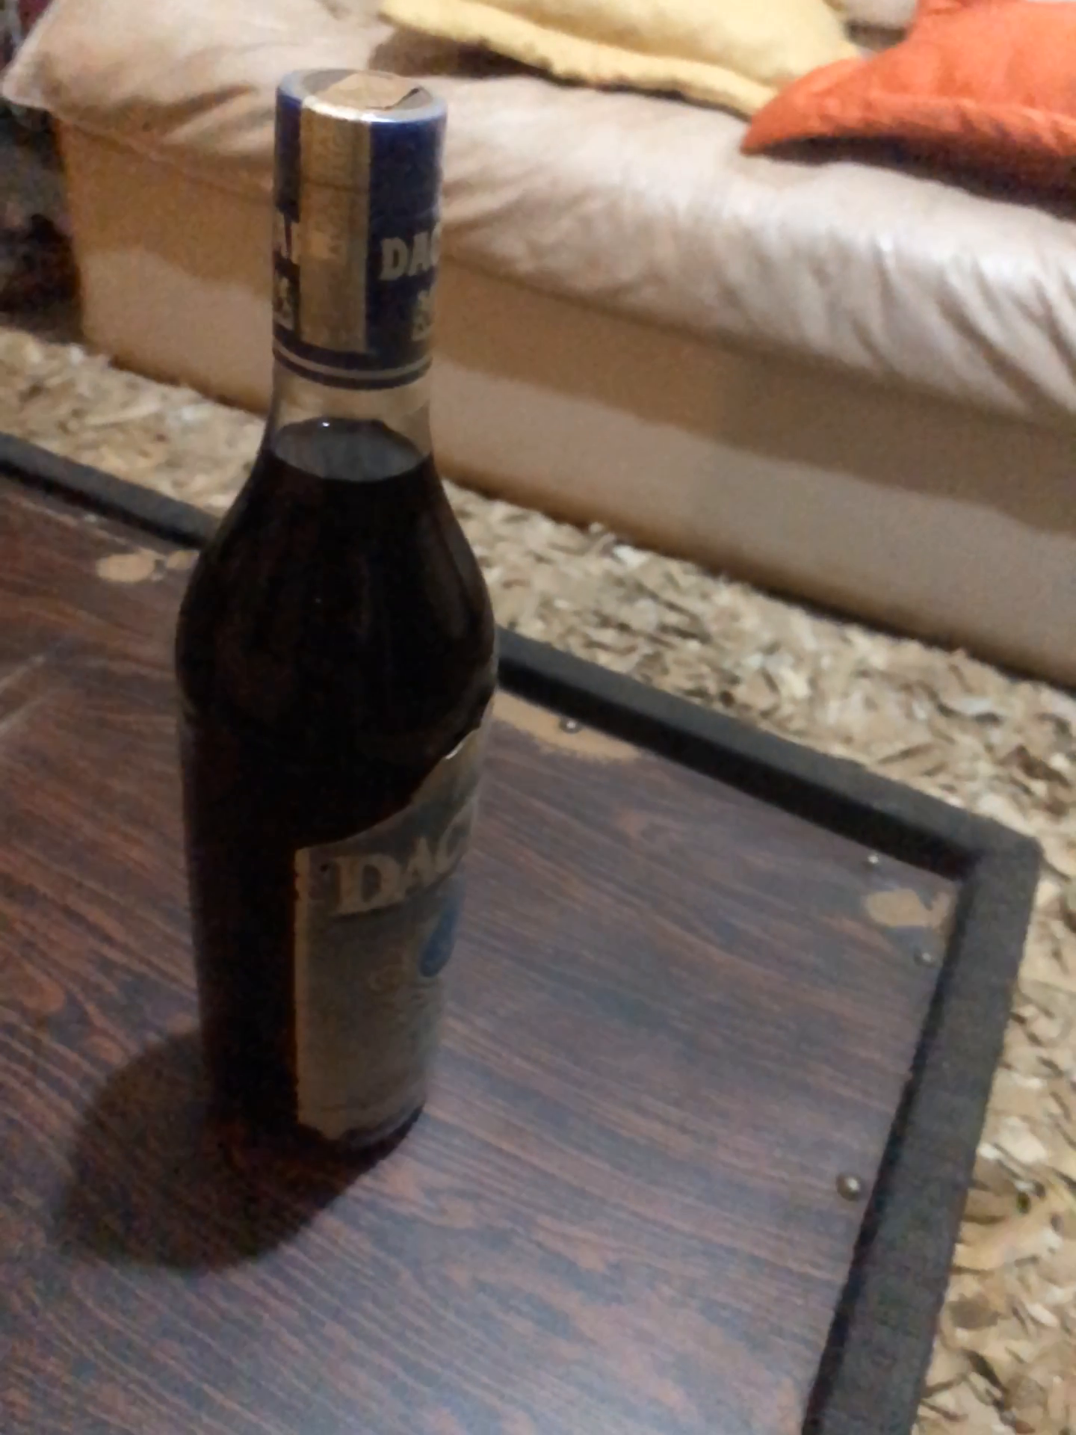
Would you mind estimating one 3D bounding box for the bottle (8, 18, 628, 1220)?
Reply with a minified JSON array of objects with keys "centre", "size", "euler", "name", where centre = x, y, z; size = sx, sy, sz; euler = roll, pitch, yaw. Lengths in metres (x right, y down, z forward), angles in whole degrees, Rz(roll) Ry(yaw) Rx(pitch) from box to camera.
[{"centre":[-0.050,0.002,0.319],"size":[0.080,0.308,0.091],"euler":[17,40,11],"name":"bottle"}]
